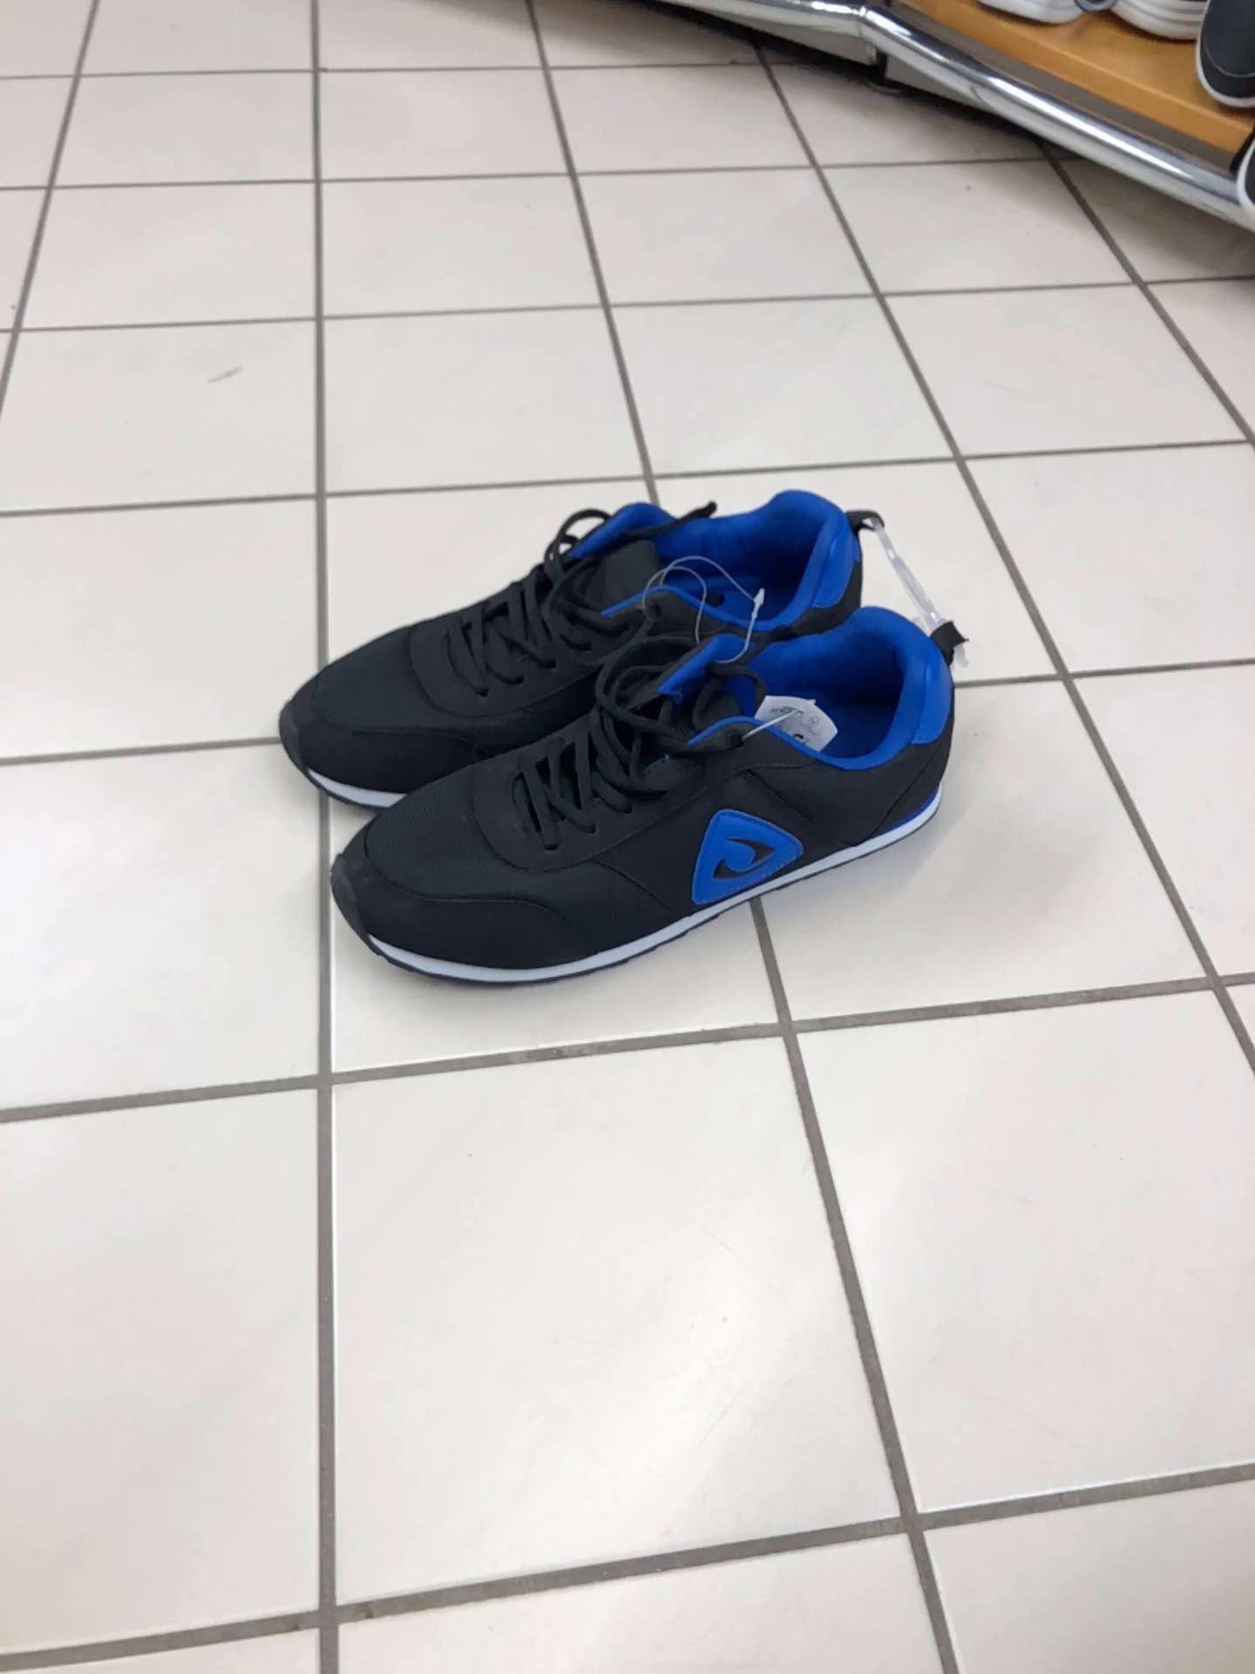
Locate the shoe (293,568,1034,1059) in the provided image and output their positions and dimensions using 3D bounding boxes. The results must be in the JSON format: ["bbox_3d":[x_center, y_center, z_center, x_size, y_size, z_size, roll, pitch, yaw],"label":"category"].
[{"bbox_3d":[0.015,-0.015,0.613,0.291,0.109,0.100,-16,53,-15],"label":"shoe"}]

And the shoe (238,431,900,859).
[{"bbox_3d":[-0.027,-0.099,0.683,0.291,0.109,0.100,-16,53,-15],"label":"shoe"}]
